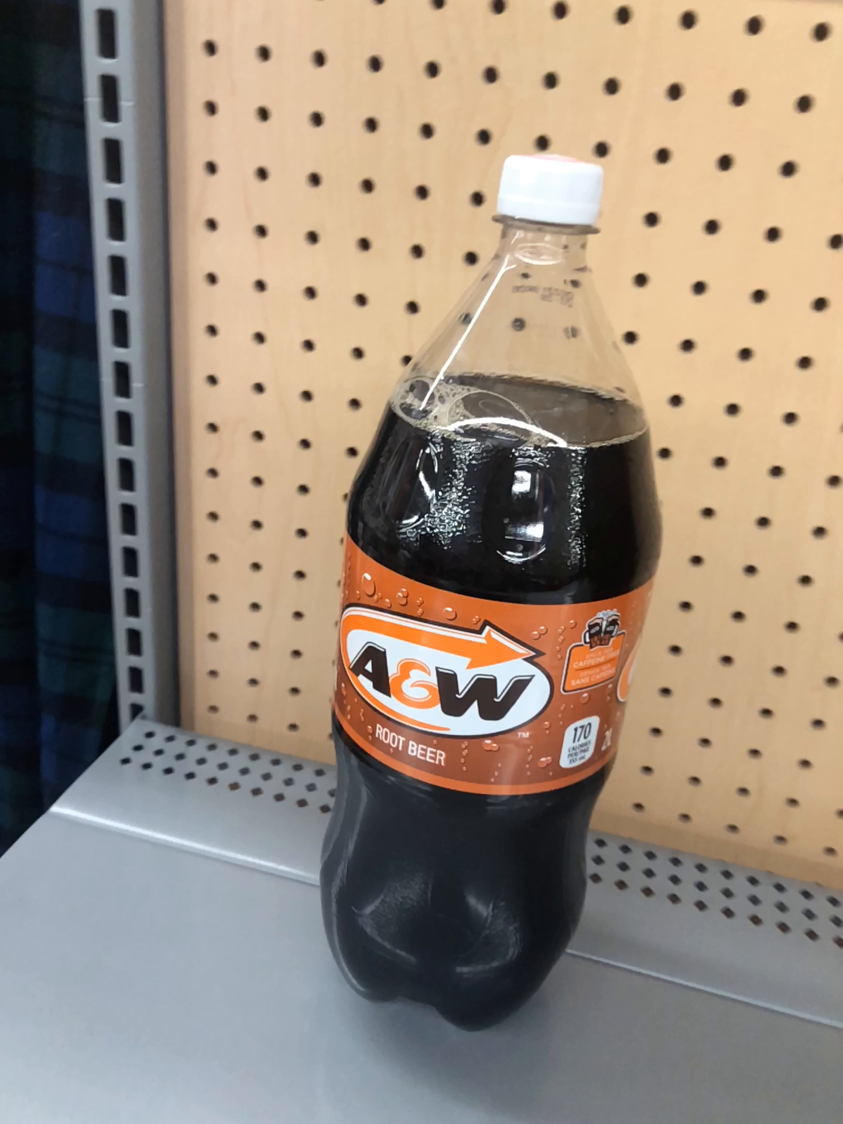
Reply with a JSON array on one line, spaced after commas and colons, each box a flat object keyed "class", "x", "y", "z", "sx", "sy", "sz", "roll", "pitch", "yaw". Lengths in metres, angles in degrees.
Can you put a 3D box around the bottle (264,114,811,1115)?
[{"class": "bottle", "x": 0.030, "y": 0.017, "z": 0.334, "sx": 0.120, "sy": 0.308, "sz": 0.121, "roll": 4, "pitch": 25, "yaw": -2}]
